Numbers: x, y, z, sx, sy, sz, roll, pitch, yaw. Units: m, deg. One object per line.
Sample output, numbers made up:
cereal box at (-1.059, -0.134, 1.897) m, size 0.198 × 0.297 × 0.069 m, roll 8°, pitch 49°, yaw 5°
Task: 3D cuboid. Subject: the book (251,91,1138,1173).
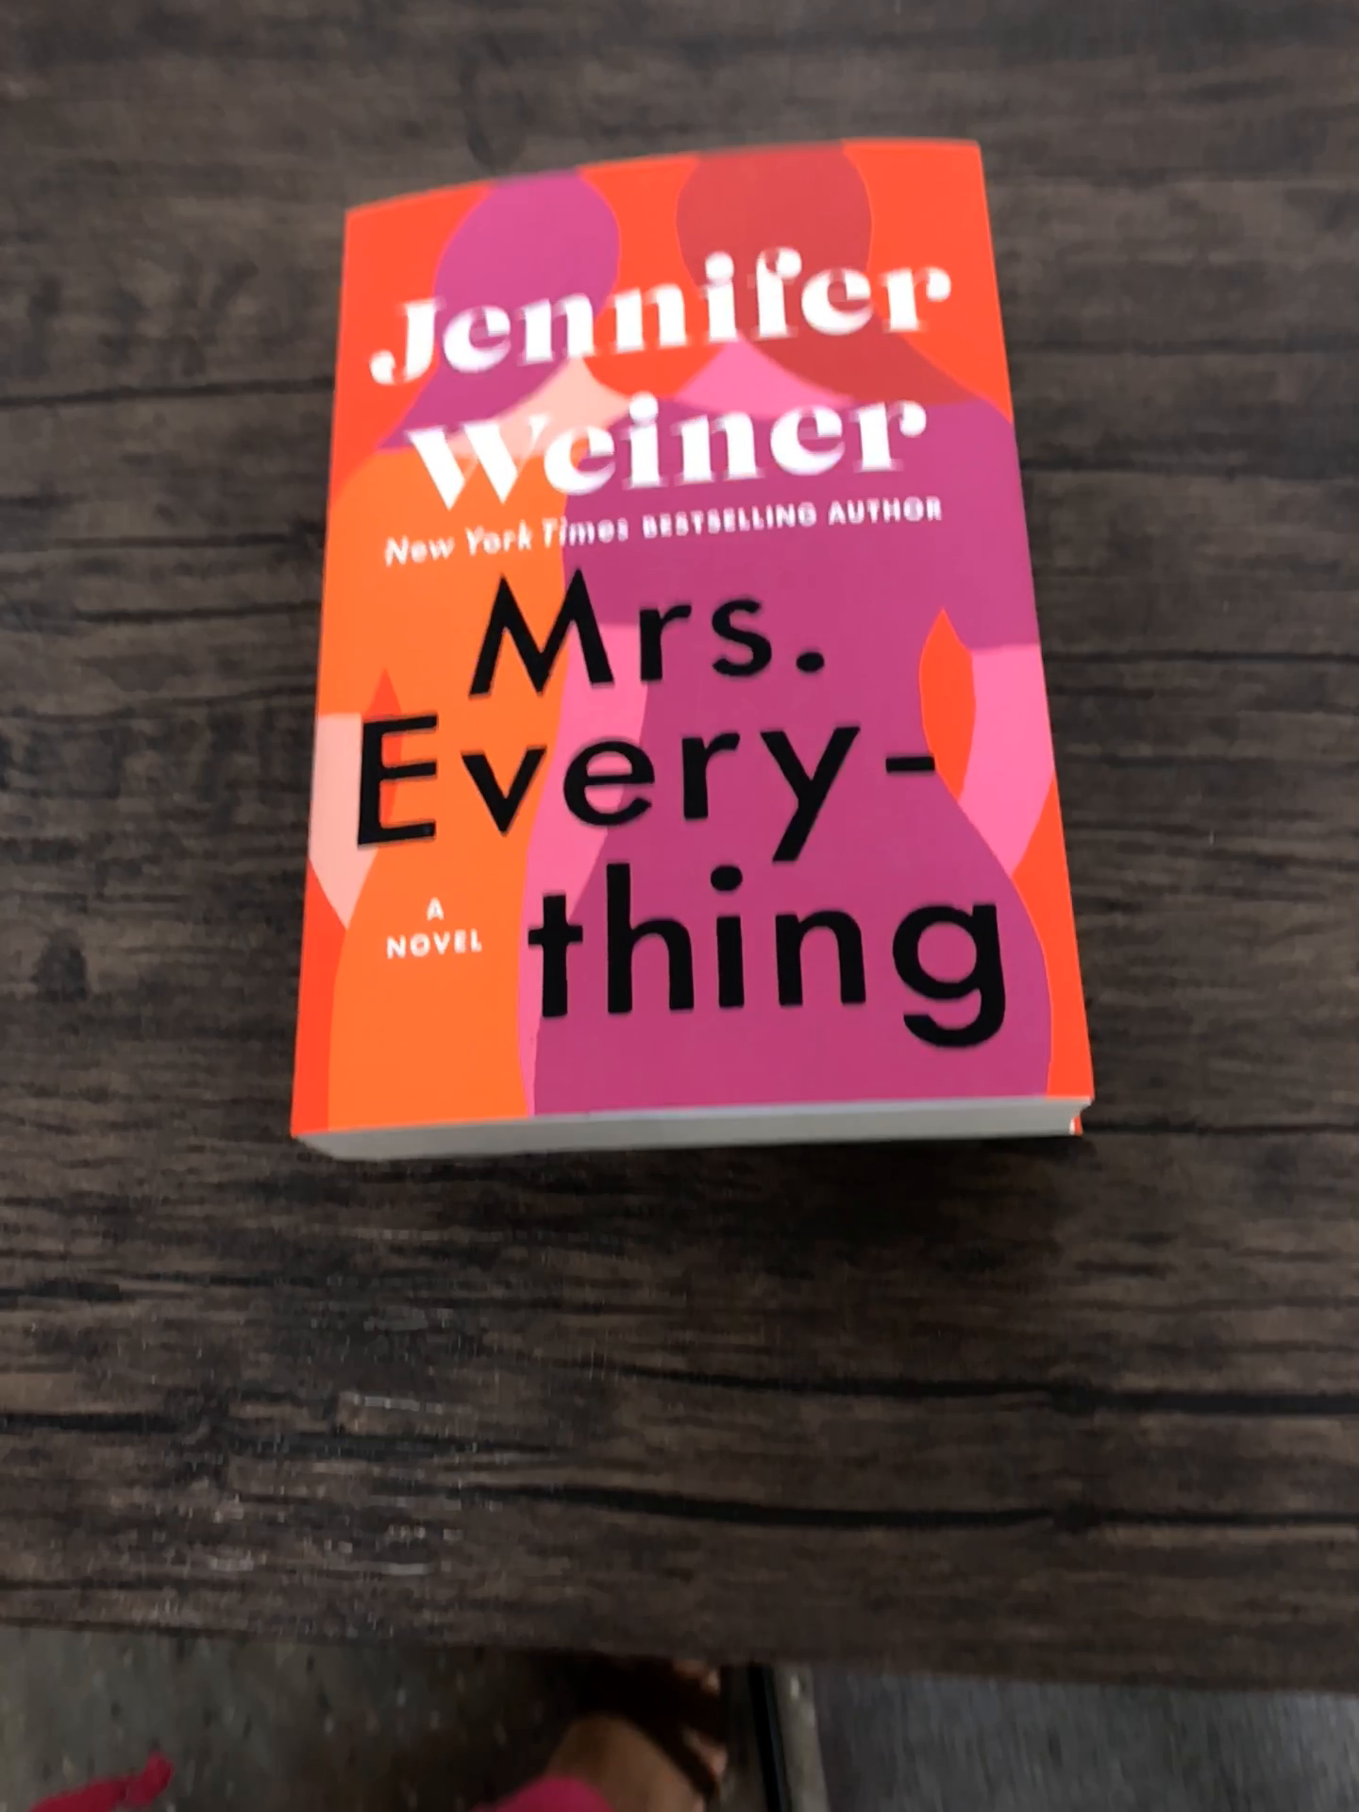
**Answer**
book at (0.000, -0.064, 0.334) m, size 0.161 × 0.046 × 0.232 m, roll -3°, pitch 71°, yaw 4°
